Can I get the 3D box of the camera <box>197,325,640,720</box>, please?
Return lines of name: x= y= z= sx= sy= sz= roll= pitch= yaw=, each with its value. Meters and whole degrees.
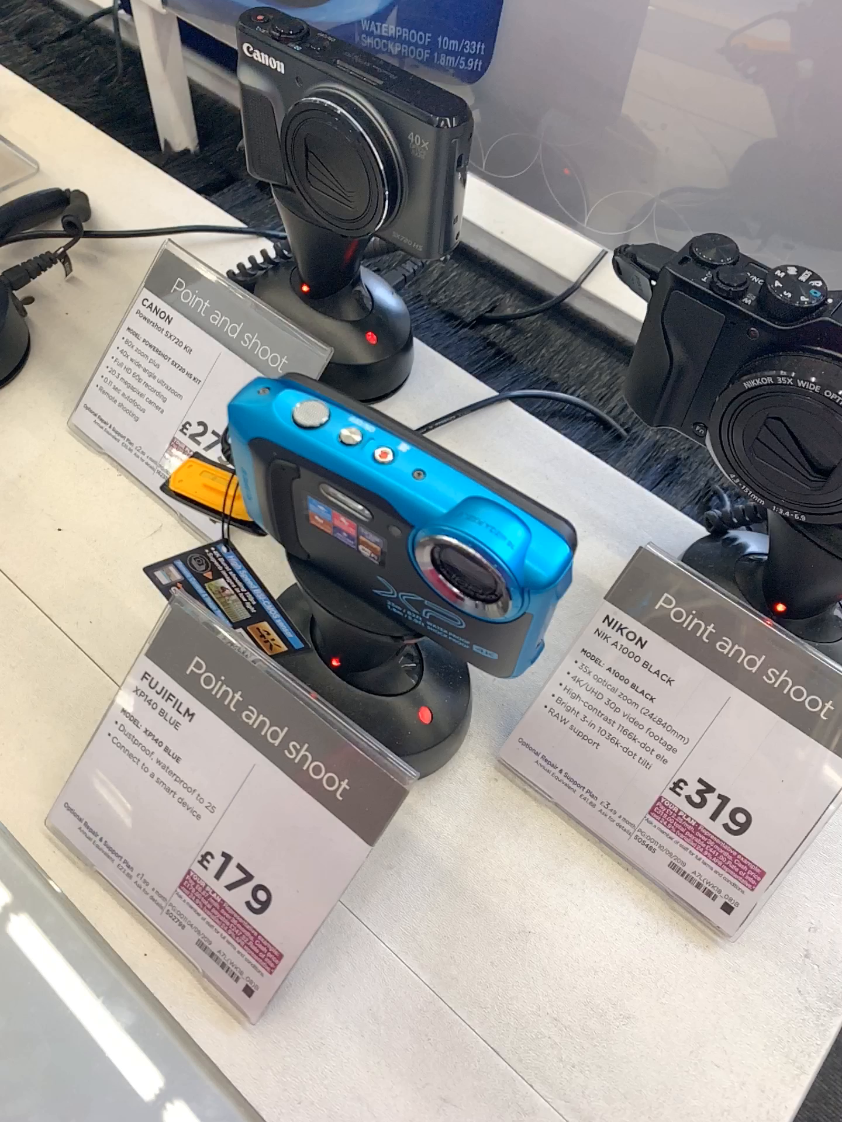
camera: x=-0.004 y=-0.010 z=0.235 sx=0.110 sy=0.060 sz=0.030 roll=31 pitch=60 yaw=15
